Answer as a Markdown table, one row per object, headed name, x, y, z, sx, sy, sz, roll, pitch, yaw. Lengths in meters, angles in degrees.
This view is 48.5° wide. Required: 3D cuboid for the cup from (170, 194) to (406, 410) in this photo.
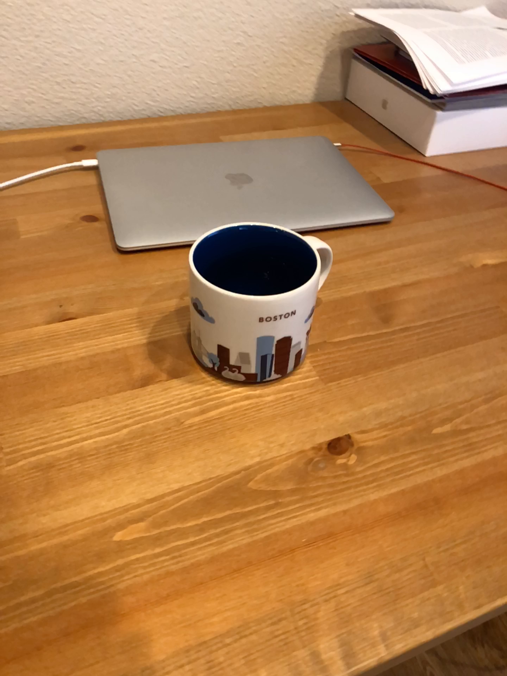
| name | x | y | z | sx | sy | sz | roll | pitch | yaw |
| --- | --- | --- | --- | --- | --- | --- | --- | --- | --- |
| cup | 0.024 | -0.034 | 0.440 | 0.140 | 0.090 | 0.100 | -23 | 48 | -27 |
